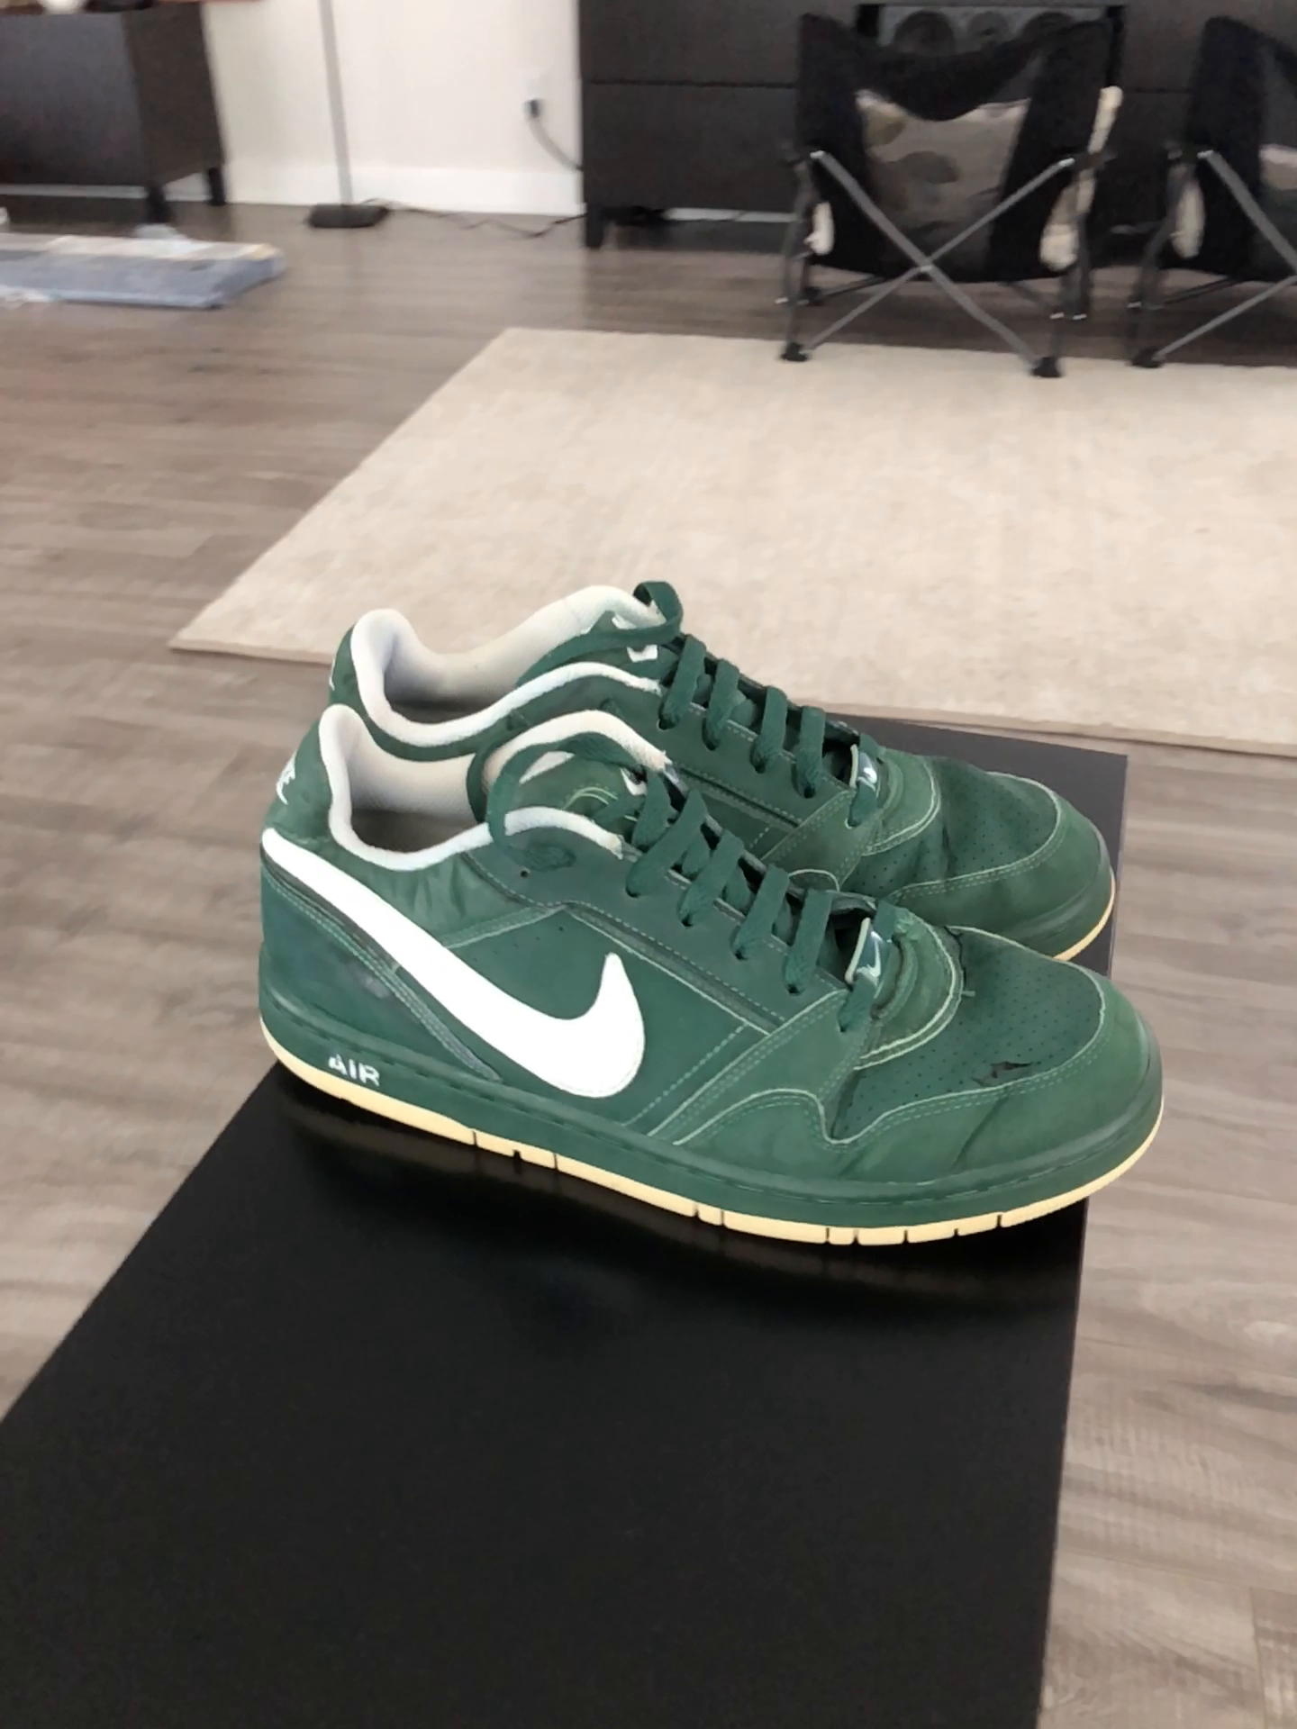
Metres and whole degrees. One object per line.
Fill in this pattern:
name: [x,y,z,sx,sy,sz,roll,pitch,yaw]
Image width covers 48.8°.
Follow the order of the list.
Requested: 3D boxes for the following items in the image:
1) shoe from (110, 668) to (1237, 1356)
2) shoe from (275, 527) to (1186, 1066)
shoe: [0.006,0.034,0.423,0.292,0.100,0.100,12,37,12]
shoe: [0.028,-0.032,0.502,0.280,0.100,0.110,11,36,10]
